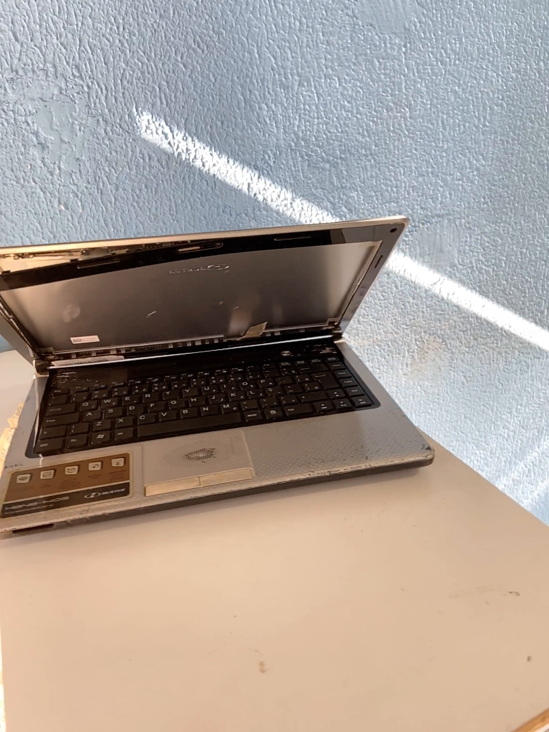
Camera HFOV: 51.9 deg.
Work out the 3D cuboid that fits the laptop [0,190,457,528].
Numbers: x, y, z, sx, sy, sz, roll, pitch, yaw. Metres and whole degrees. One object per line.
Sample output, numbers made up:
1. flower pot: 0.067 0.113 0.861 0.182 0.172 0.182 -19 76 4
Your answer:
1. laptop: -0.061 -0.036 0.475 0.326 0.160 0.233 -7 27 -10
